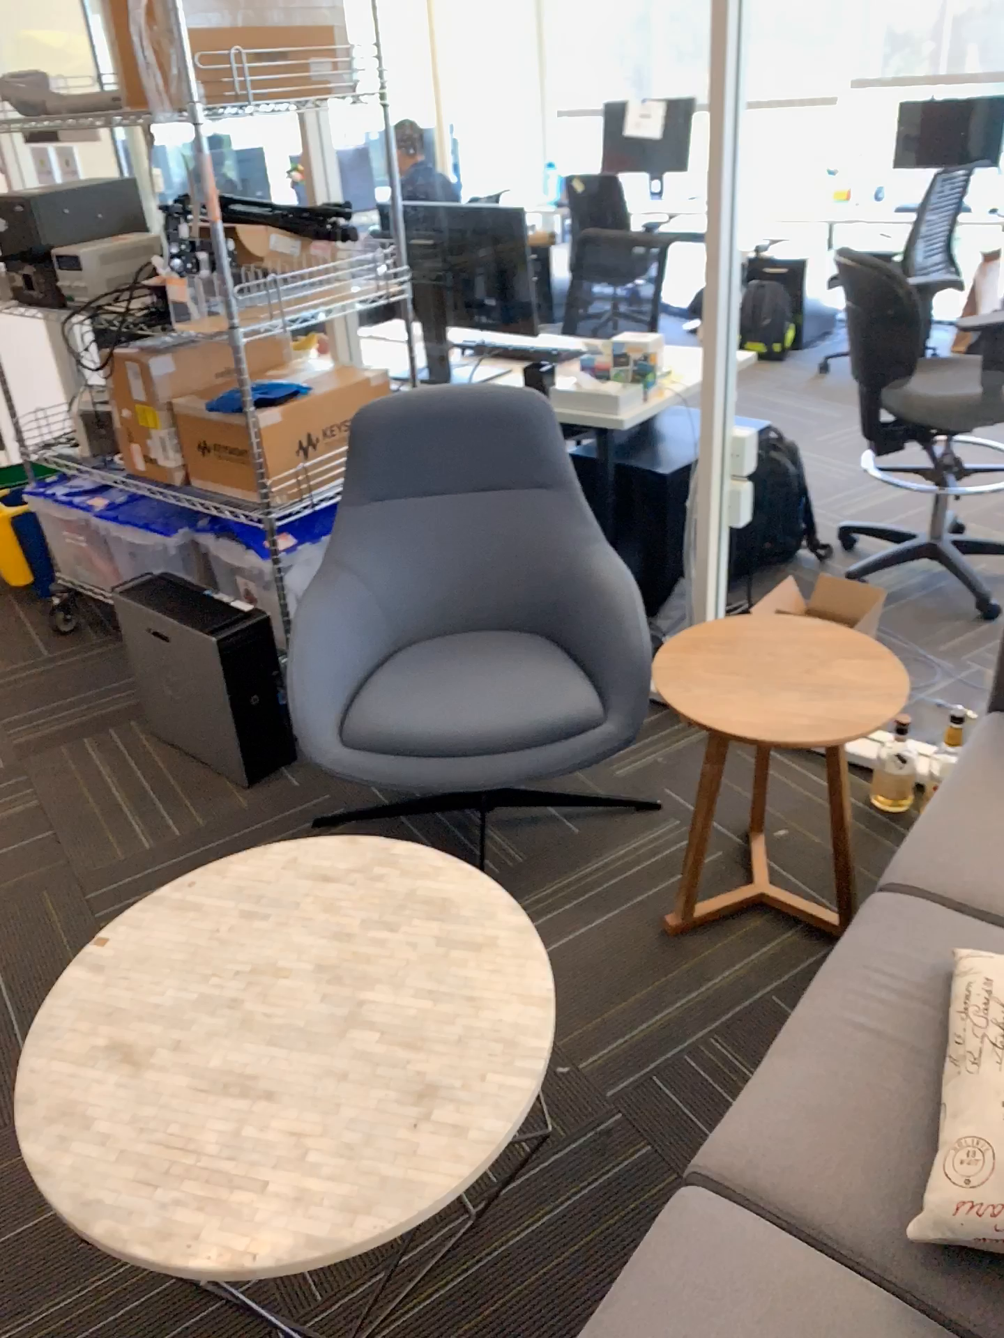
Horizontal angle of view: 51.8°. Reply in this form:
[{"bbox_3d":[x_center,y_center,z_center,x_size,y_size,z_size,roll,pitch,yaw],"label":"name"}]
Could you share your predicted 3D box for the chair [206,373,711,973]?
[{"bbox_3d":[-0.034,-0.041,2.381,0.840,0.964,1.006,-3,30,3],"label":"chair"}]
